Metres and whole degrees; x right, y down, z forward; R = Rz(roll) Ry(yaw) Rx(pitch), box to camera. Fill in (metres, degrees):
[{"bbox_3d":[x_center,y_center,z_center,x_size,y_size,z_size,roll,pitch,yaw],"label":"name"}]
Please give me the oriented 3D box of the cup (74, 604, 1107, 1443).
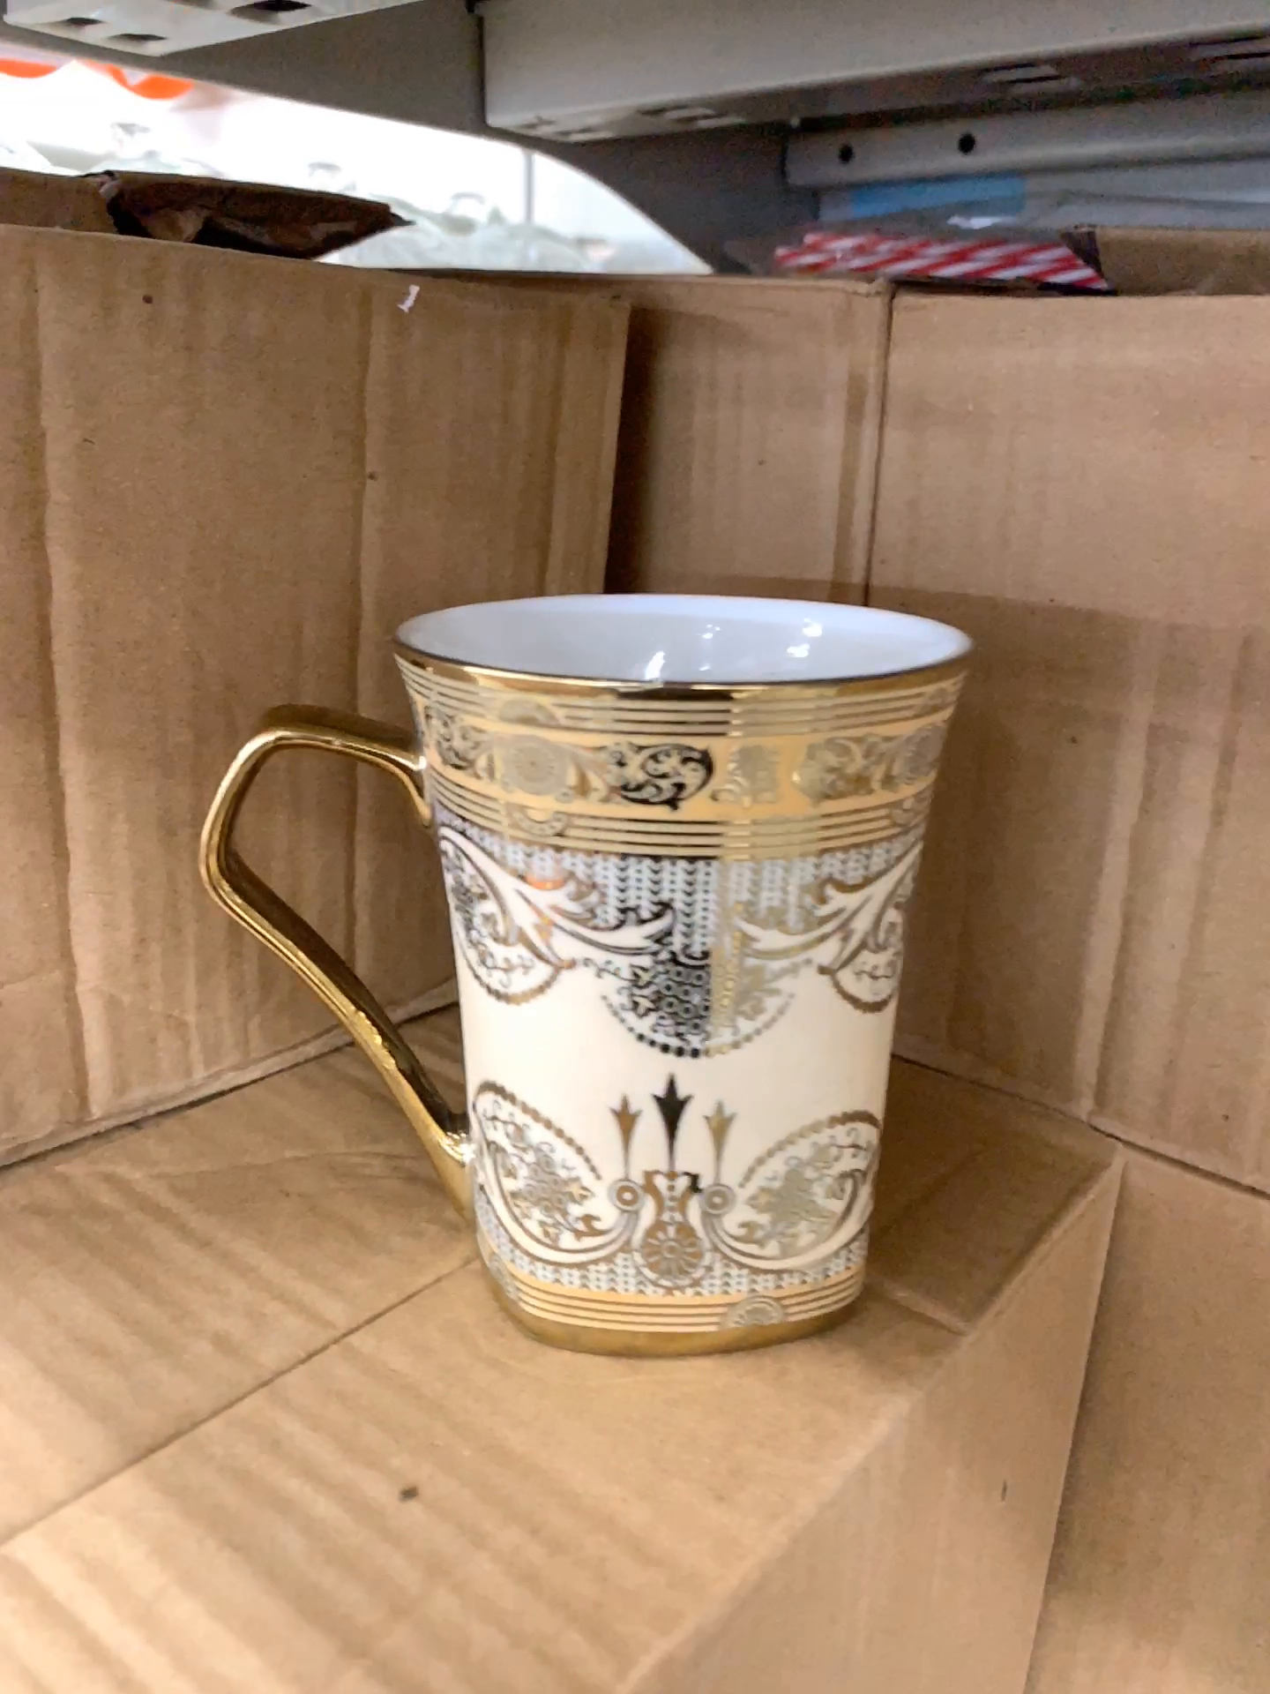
[{"bbox_3d":[-0.008,0.016,0.193,0.110,0.089,0.080,-1,19,-6],"label":"cup"}]
